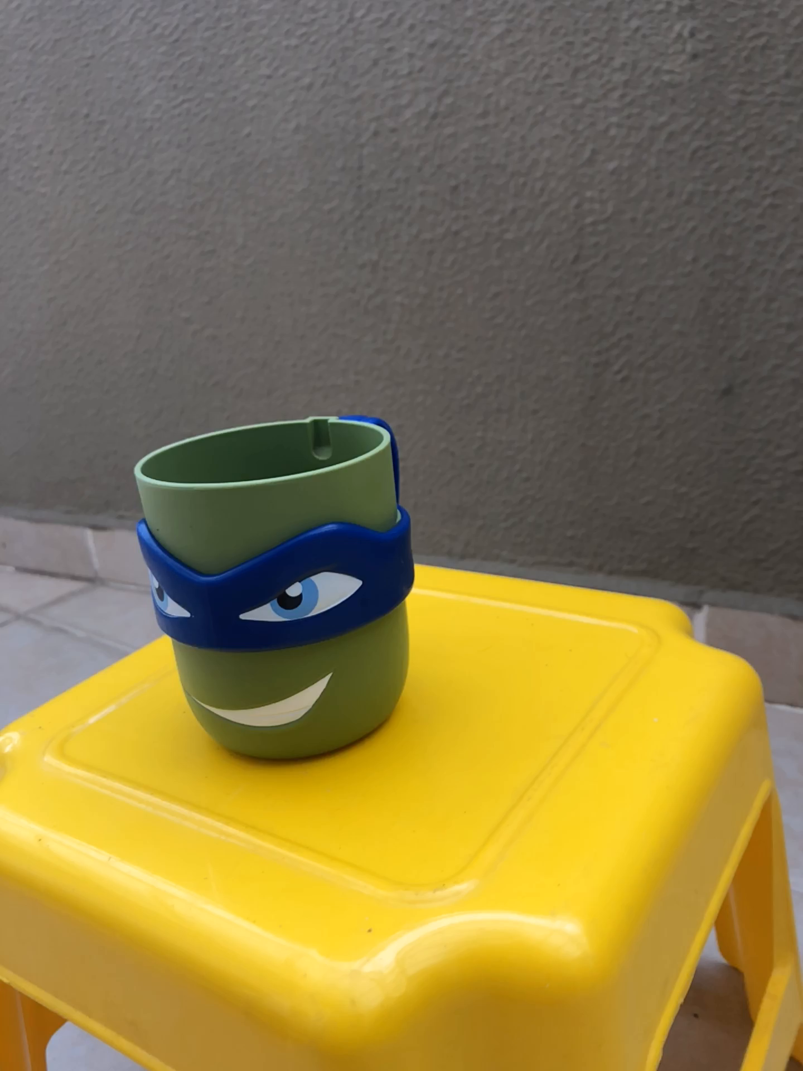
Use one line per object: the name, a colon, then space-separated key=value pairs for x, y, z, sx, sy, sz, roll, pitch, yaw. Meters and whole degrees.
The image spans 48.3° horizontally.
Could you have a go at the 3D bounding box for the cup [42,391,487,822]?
cup: x=-0.032 y=0.012 z=0.281 sx=0.080 sy=0.090 sz=0.111 roll=1 pitch=20 yaw=24
